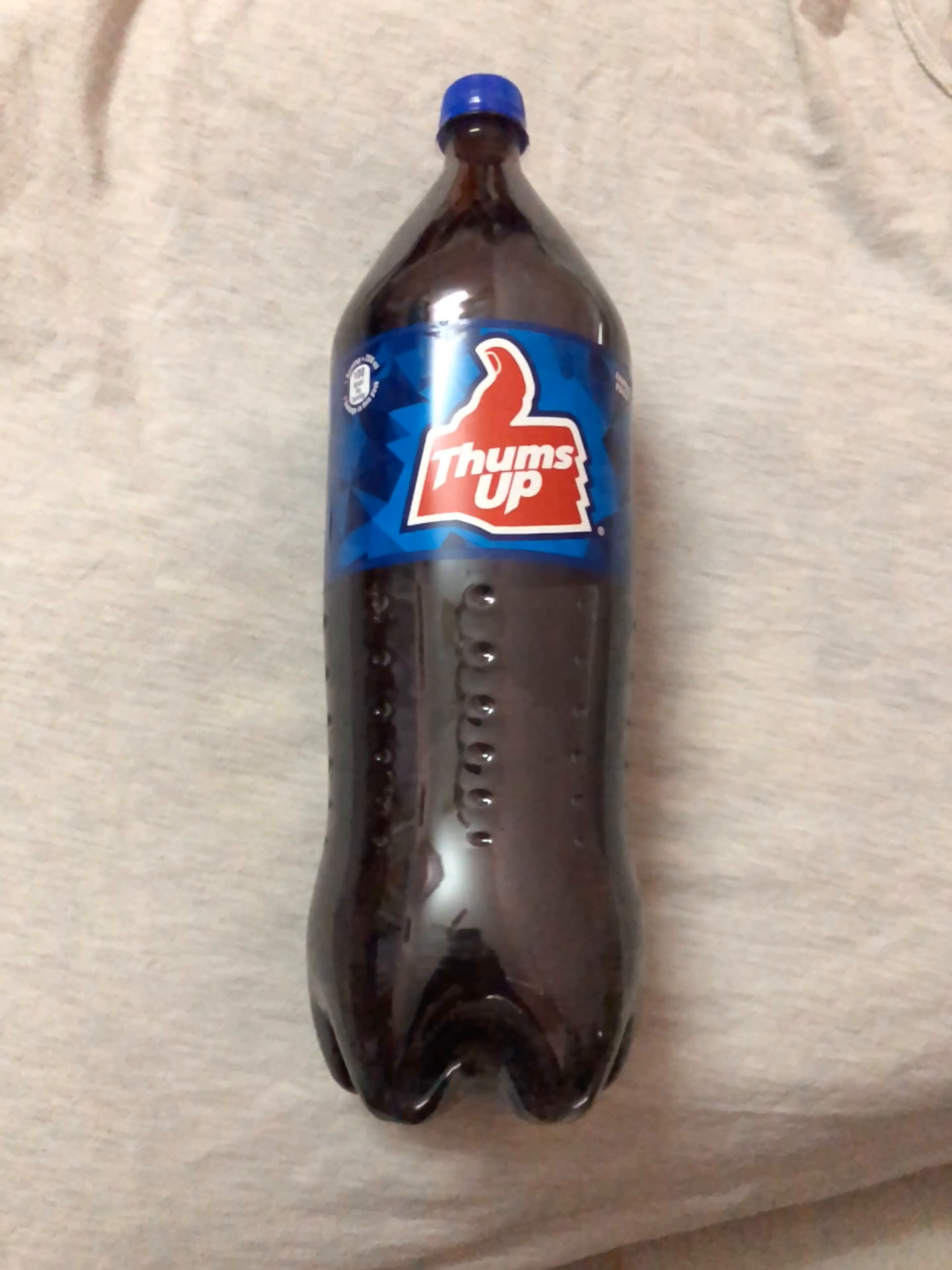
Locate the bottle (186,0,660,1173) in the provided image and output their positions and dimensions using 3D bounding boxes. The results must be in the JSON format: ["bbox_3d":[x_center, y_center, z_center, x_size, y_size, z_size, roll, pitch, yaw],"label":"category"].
[{"bbox_3d":[-0.013,-0.030,0.281,0.100,0.060,0.300,1,79,-5],"label":"bottle"}]
